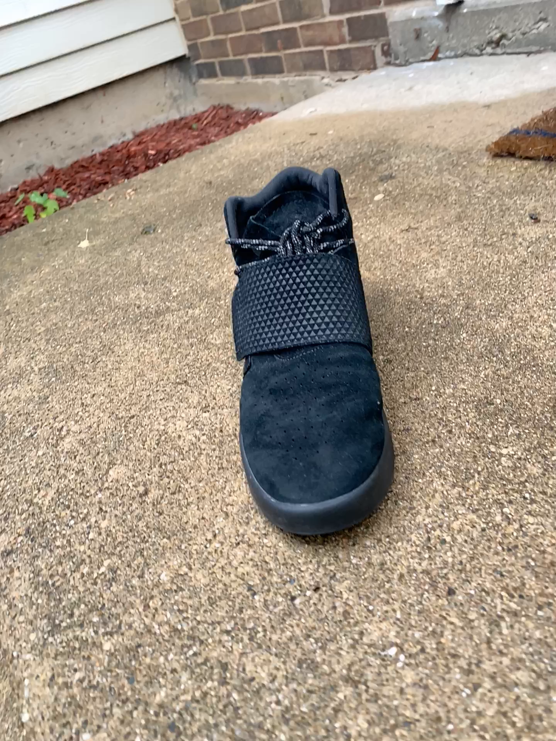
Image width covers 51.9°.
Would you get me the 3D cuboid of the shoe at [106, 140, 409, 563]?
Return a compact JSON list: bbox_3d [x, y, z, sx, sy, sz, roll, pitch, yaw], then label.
[{"bbox_3d":[0.009,-0.037,0.404,0.119,0.141,0.292,-9,35,13],"label":"shoe"}]
